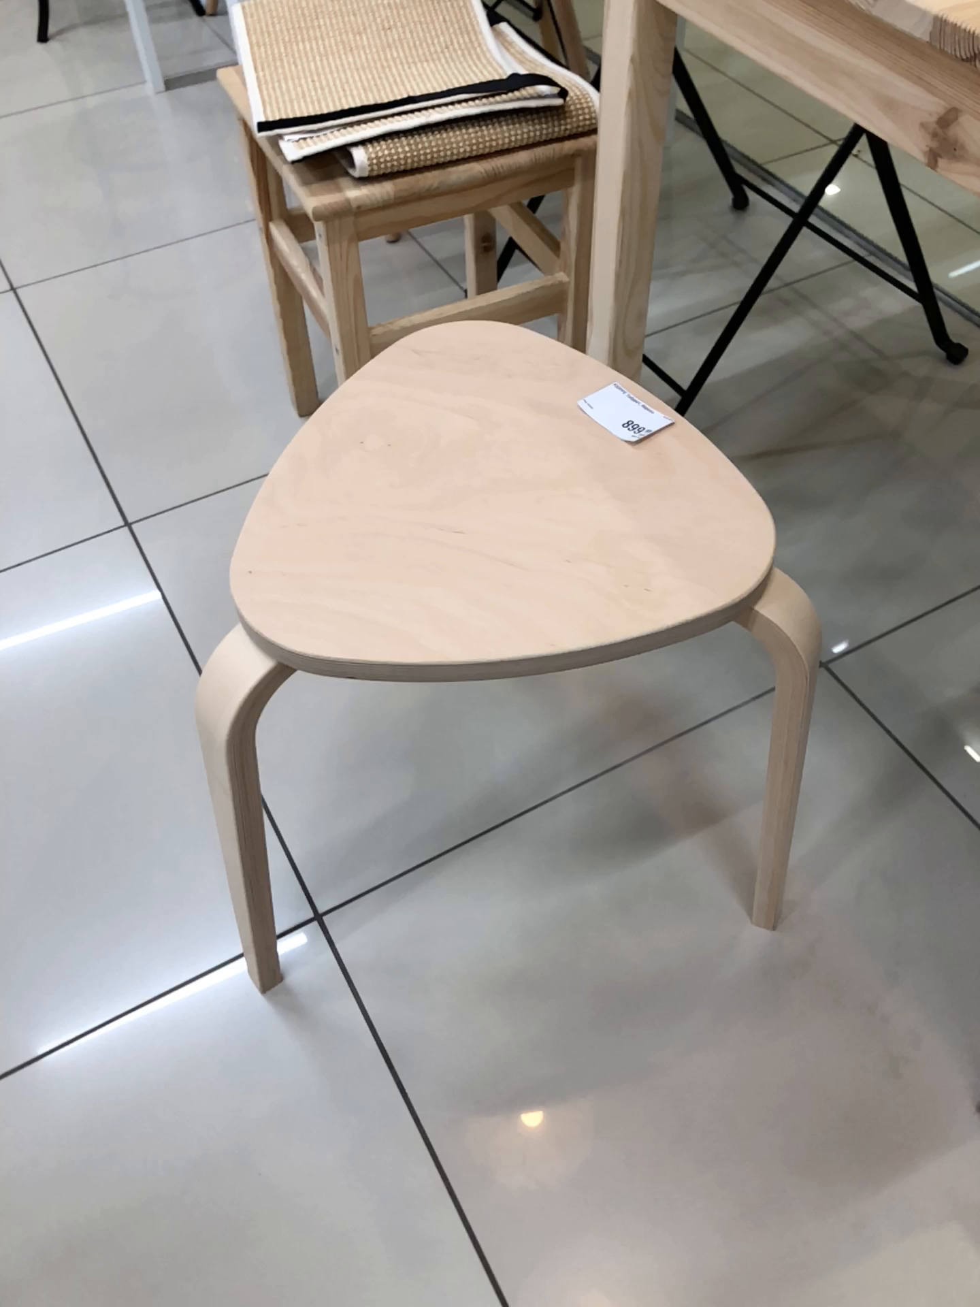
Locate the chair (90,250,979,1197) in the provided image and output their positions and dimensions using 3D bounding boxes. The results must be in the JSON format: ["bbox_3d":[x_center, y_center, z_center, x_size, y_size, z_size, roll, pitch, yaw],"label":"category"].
[{"bbox_3d":[0.070,0.049,0.884,0.430,0.467,0.493,18,54,16],"label":"chair"}]
